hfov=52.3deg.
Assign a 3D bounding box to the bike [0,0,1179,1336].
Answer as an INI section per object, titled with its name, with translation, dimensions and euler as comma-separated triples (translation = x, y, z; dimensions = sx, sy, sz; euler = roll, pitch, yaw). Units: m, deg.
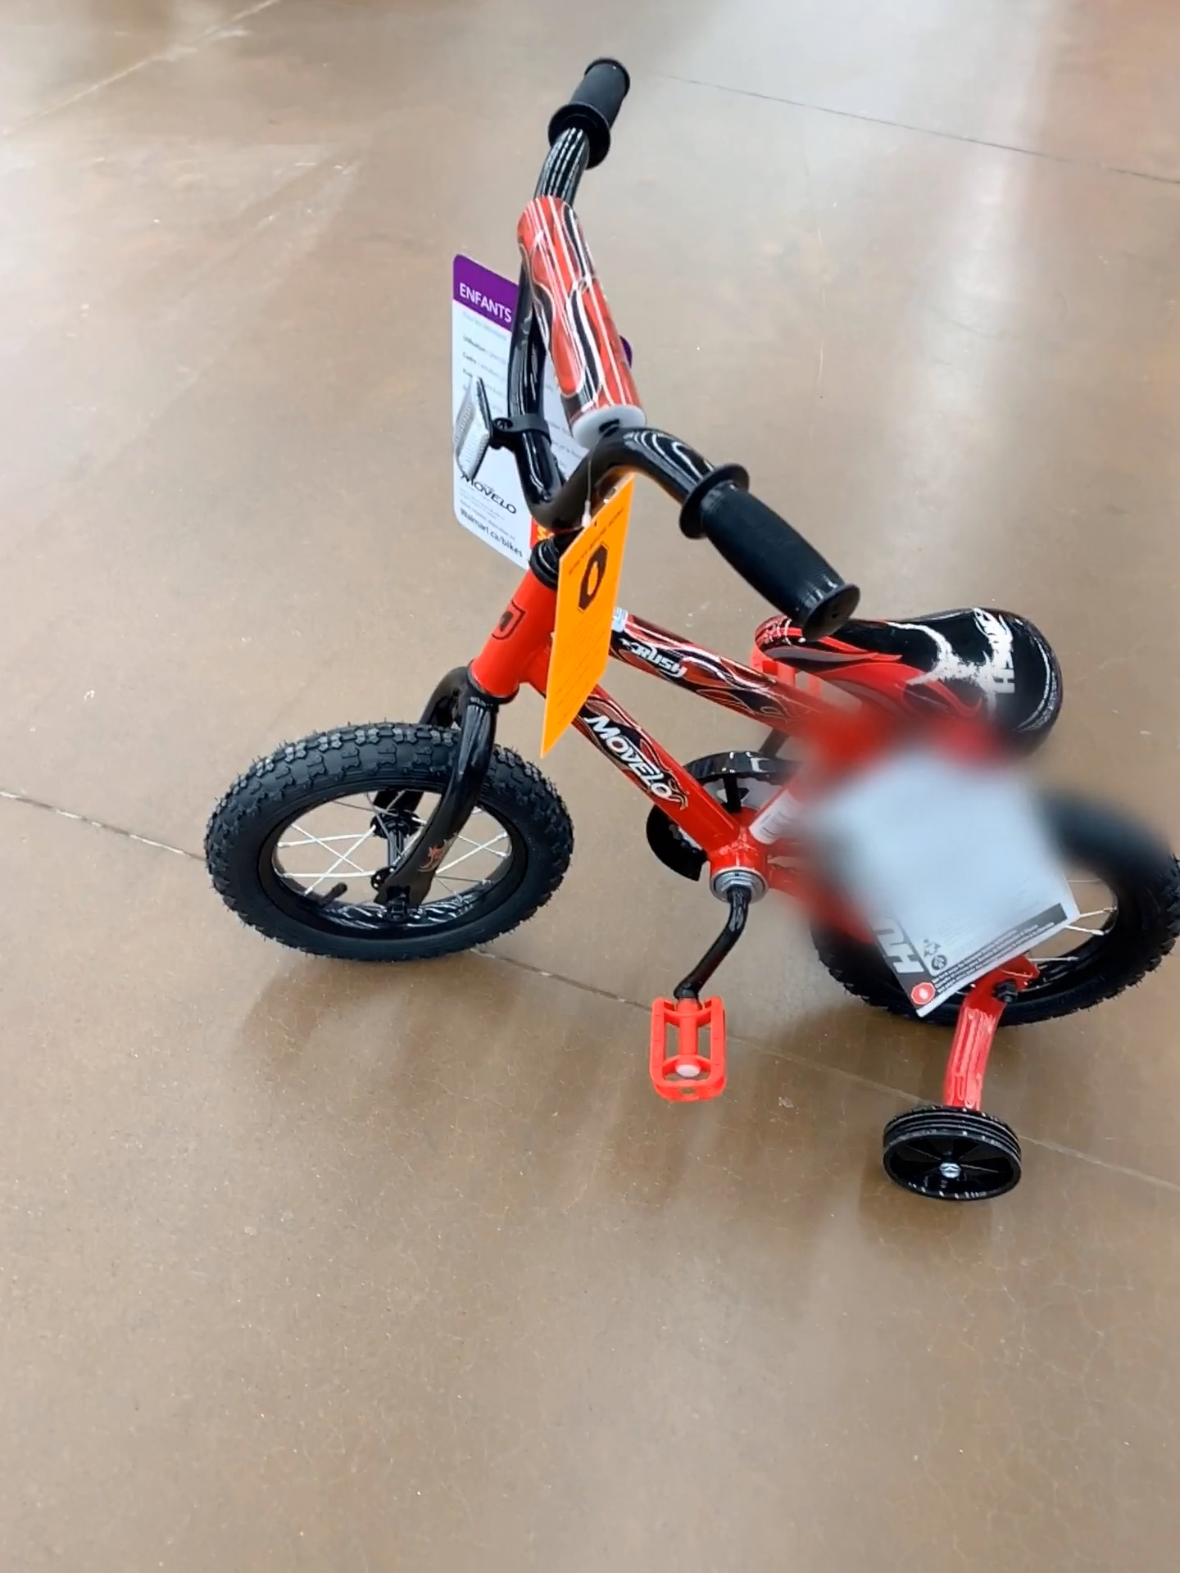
[bike]
translation = 0.110, -0.040, 0.718
dimensions = 0.703, 0.626, 0.459
euler = 7, 46, -7
